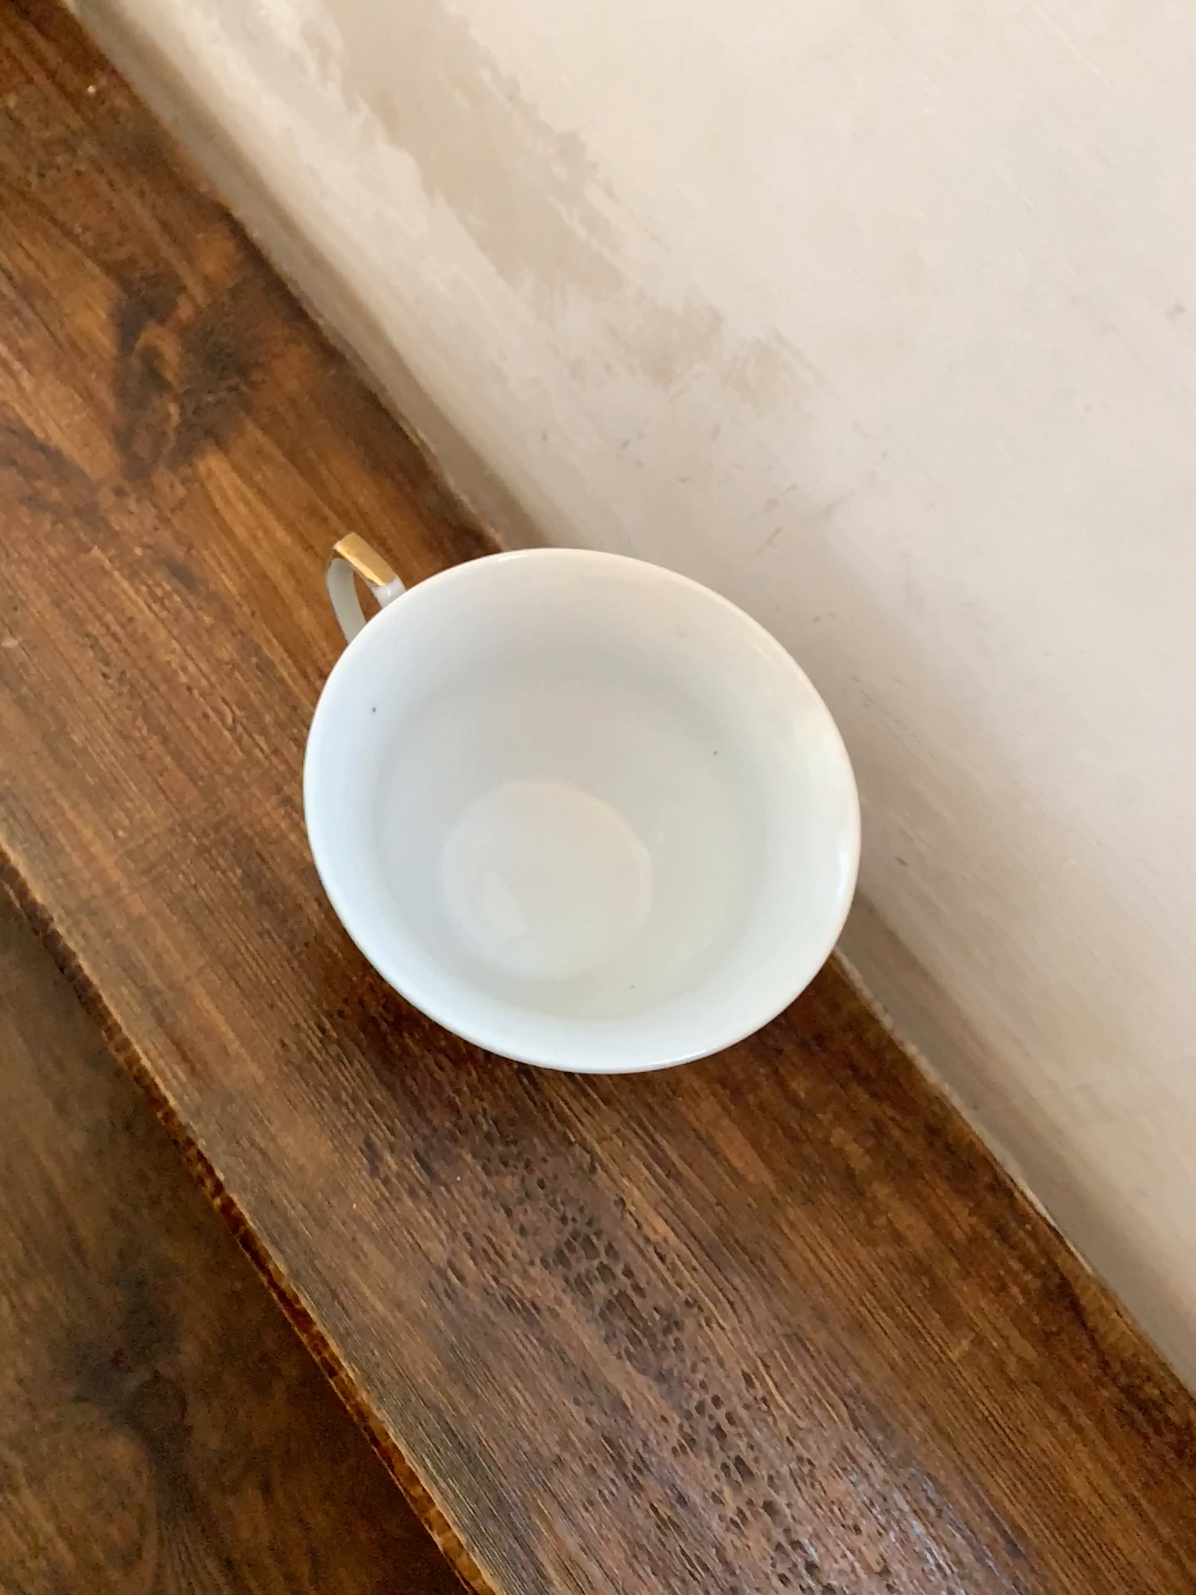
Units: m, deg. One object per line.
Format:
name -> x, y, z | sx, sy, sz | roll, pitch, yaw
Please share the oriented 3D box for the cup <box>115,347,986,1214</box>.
cup -> -0.012, -0.004, 0.235 | 0.091, 0.058, 0.123 | -35, 79, -23
